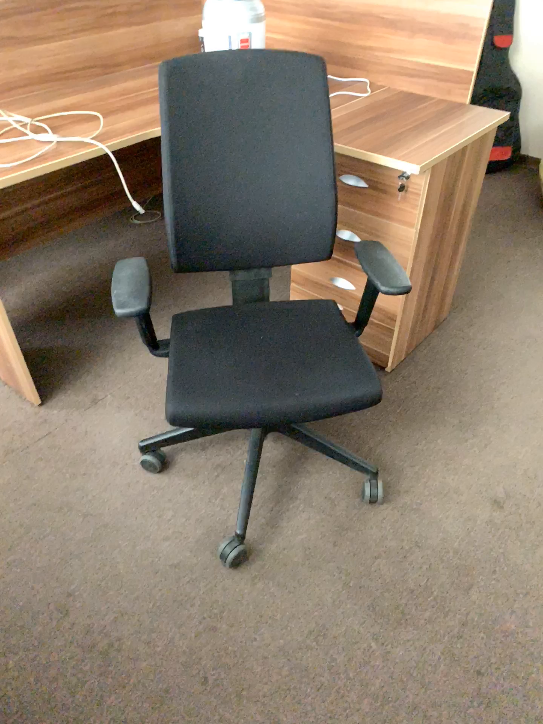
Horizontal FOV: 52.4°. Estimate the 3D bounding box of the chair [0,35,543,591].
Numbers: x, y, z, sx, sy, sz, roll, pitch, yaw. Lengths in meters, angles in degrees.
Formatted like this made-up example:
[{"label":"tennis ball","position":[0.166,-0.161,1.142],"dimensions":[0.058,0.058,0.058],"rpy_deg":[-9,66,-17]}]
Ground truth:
[{"label":"chair","position":[-0.044,-0.136,1.258],"dimensions":[0.670,0.915,0.794],"rpy_deg":[-6,40,-7]}]
